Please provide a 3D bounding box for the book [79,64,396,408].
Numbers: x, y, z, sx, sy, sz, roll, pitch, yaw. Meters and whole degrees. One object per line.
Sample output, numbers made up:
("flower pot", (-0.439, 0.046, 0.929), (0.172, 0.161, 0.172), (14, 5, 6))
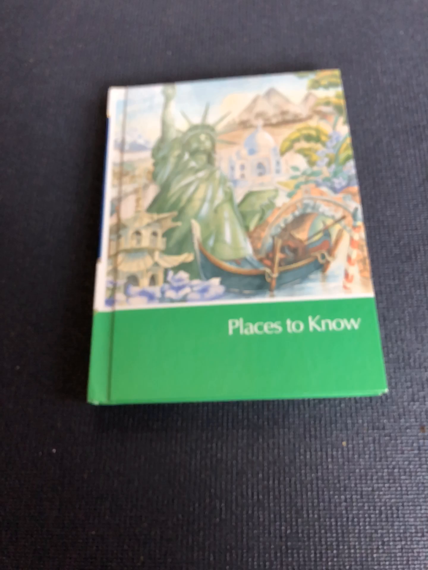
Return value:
("book", (0.010, -0.045, 0.350), (0.190, 0.030, 0.250), (-3, 69, 3))
